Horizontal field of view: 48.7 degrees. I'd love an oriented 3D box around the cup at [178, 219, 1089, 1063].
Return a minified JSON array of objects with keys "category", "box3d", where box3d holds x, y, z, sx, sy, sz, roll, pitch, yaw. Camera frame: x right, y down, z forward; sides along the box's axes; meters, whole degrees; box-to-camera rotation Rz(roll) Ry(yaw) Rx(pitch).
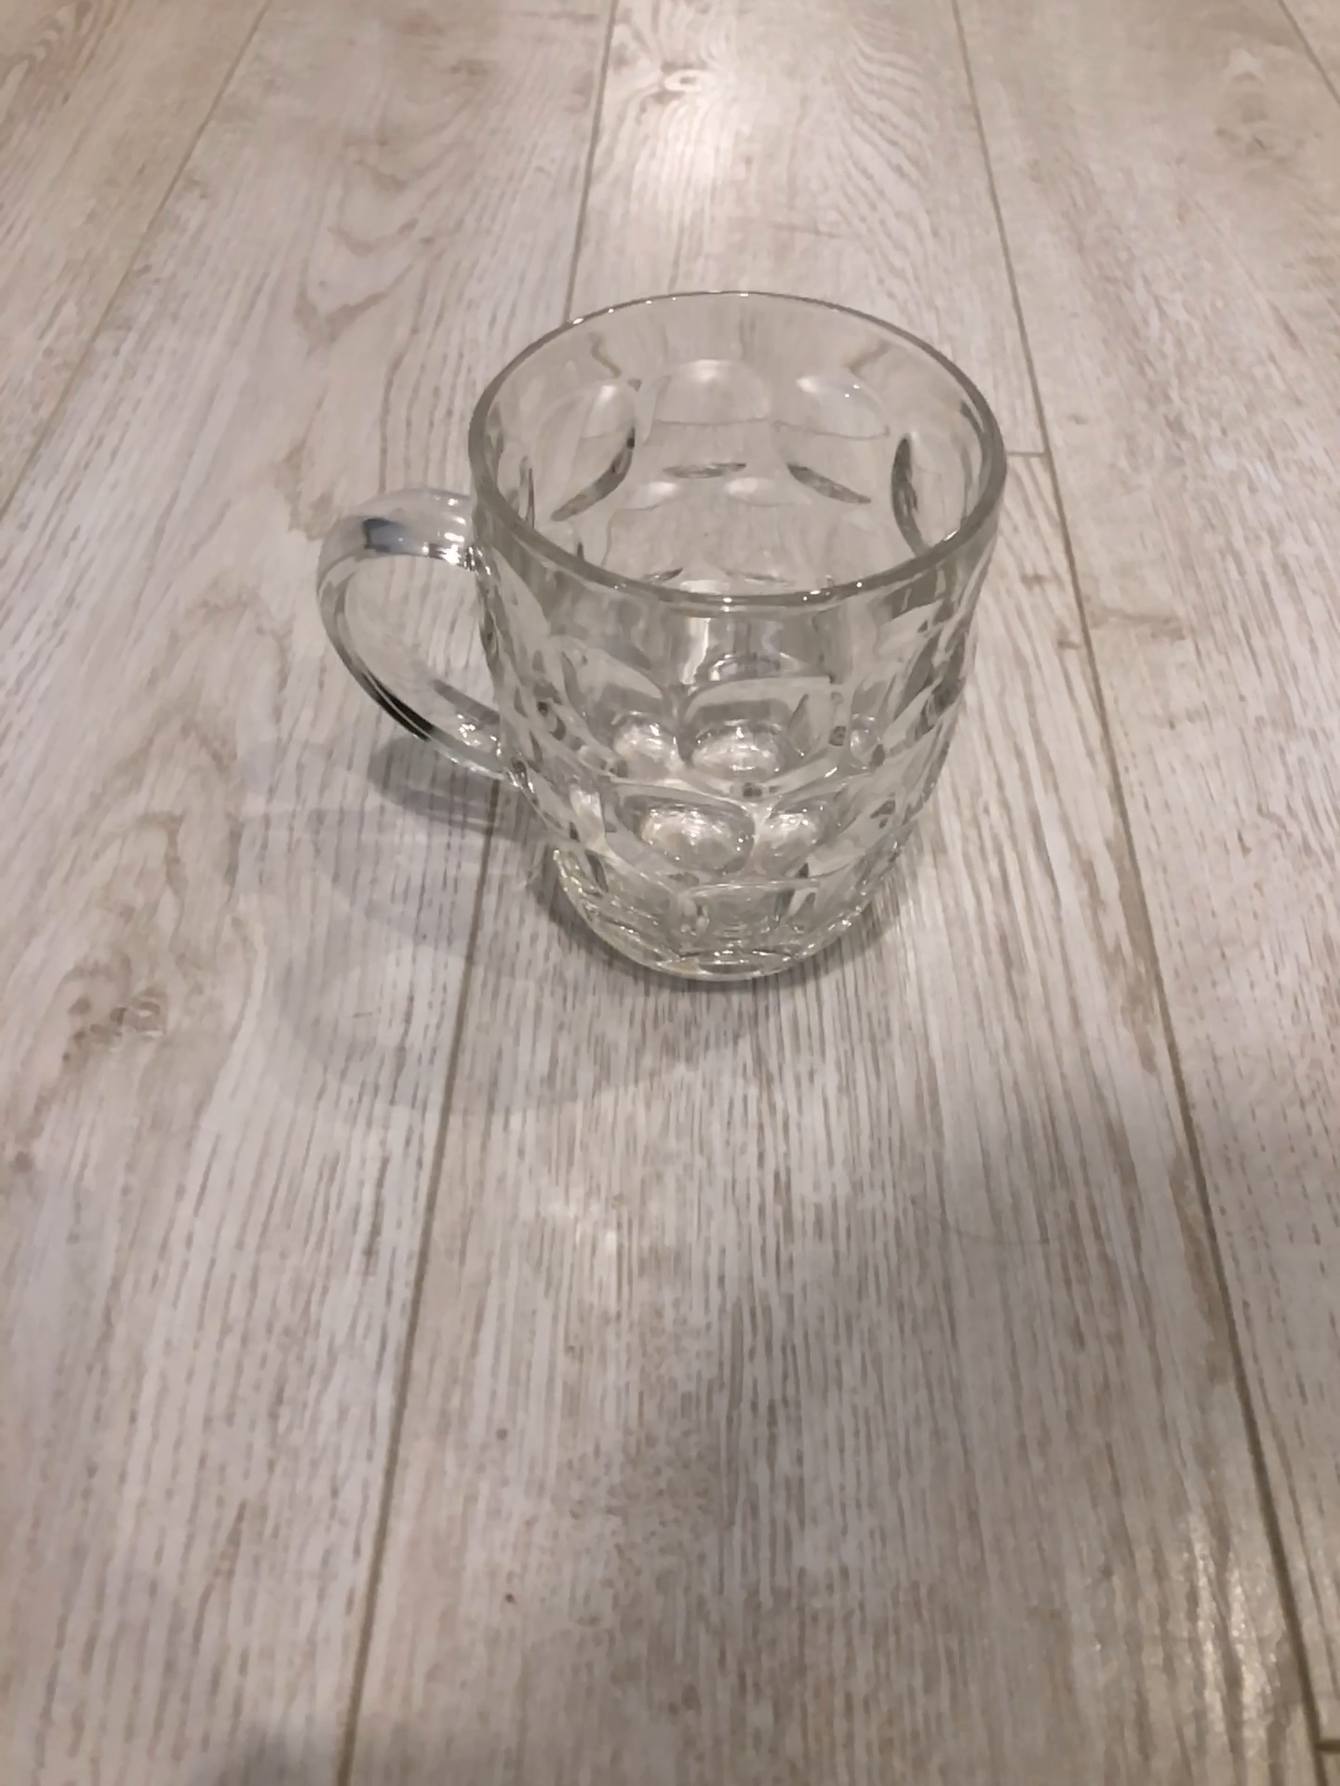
[{"category":"cup","box3d":[-0.001,-0.052,0.304,0.140,0.109,0.101,12,51,8]}]
